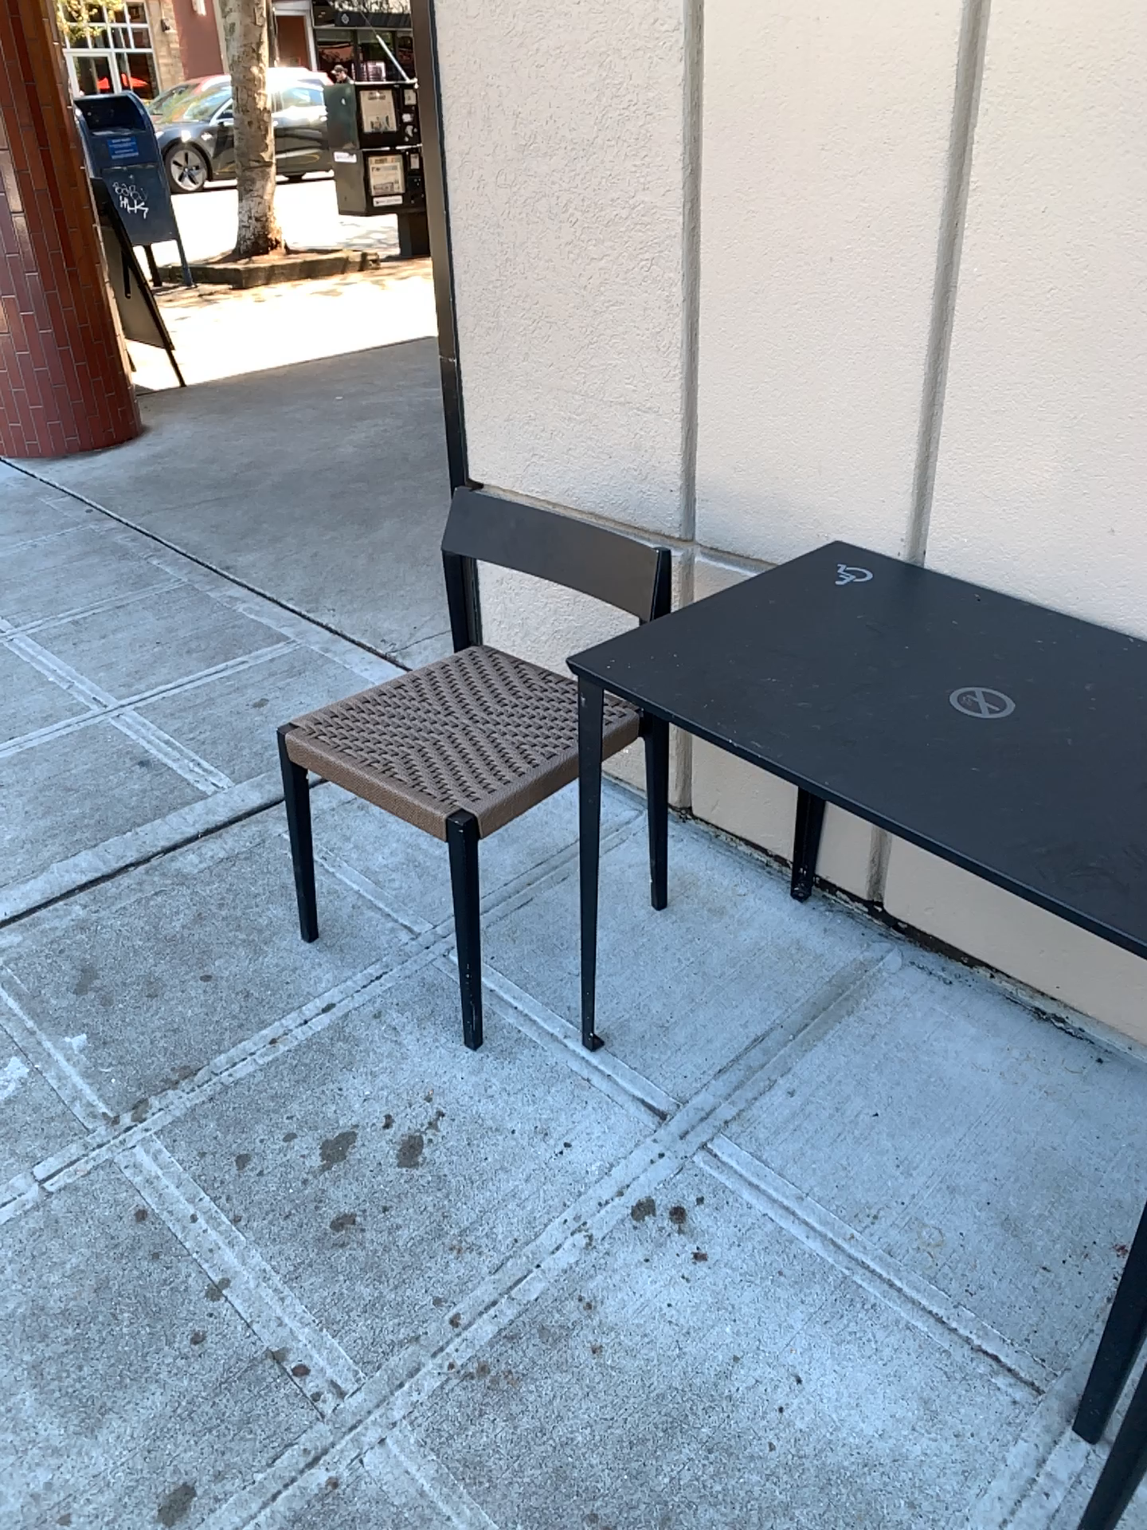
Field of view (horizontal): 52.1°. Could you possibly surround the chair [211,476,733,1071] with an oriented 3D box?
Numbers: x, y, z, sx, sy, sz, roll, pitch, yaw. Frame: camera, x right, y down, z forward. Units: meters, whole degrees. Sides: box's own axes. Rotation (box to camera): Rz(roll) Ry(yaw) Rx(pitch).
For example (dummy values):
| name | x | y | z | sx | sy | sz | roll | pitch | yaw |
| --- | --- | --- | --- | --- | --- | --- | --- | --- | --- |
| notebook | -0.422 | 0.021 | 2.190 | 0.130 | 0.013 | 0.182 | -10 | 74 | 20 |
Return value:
| name | x | y | z | sx | sy | sz | roll | pitch | yaw |
| --- | --- | --- | --- | --- | --- | --- | --- | --- | --- |
| chair | -0.137 | -0.031 | 1.908 | 0.552 | 0.666 | 0.551 | 22 | 37 | 36 |
